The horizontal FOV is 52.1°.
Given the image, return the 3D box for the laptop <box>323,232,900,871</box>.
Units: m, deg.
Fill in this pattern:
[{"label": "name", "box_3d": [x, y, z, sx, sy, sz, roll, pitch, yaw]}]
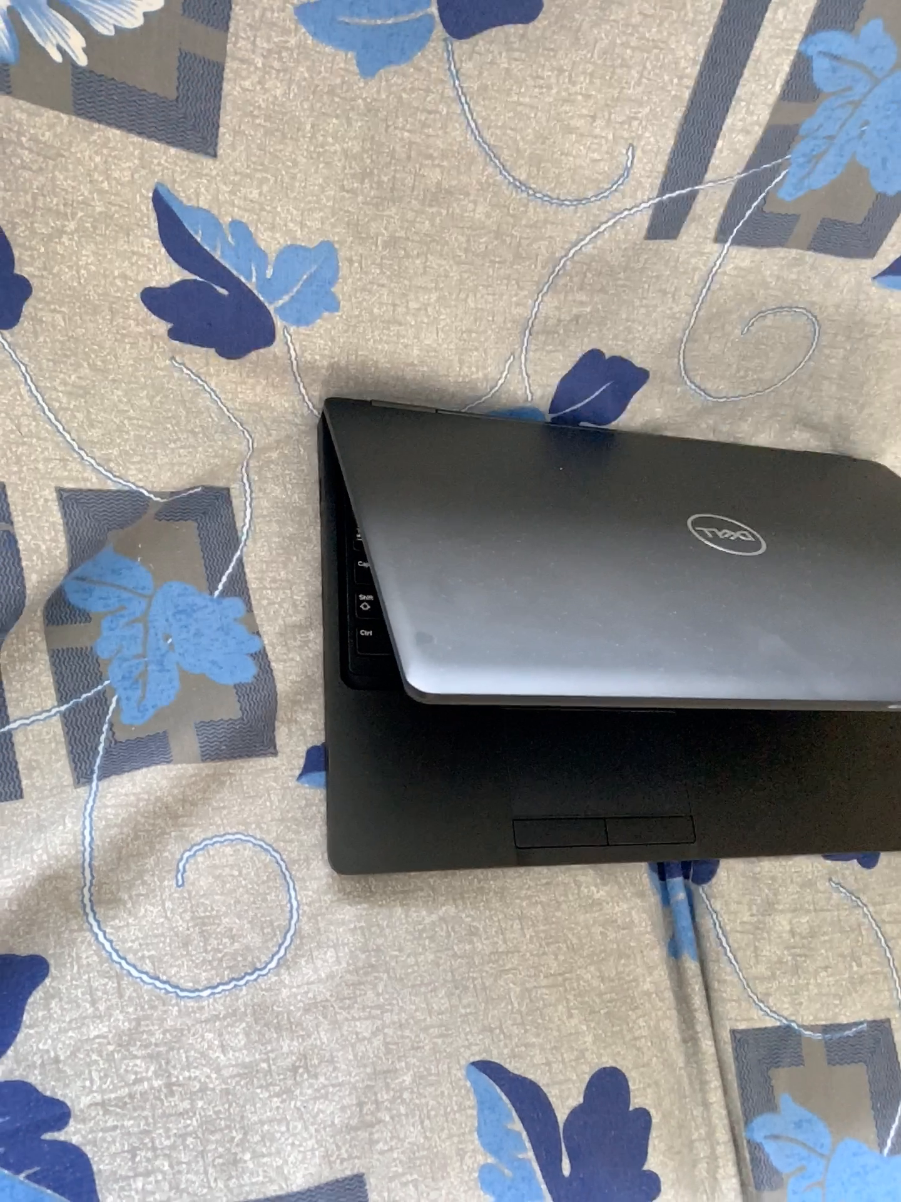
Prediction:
[{"label": "laptop", "box_3d": [0.138, -0.004, 0.446, 0.372, 0.143, 0.238, 3, 69, -18]}]
